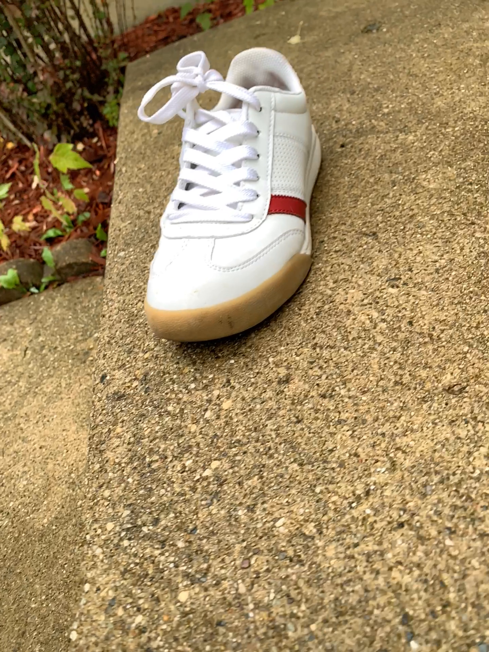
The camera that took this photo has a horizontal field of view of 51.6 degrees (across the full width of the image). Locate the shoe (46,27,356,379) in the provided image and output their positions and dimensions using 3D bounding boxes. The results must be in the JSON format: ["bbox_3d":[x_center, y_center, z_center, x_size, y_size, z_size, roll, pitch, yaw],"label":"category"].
[{"bbox_3d":[-0.001,-0.101,0.351,0.098,0.092,0.270,1,46,25],"label":"shoe"}]
